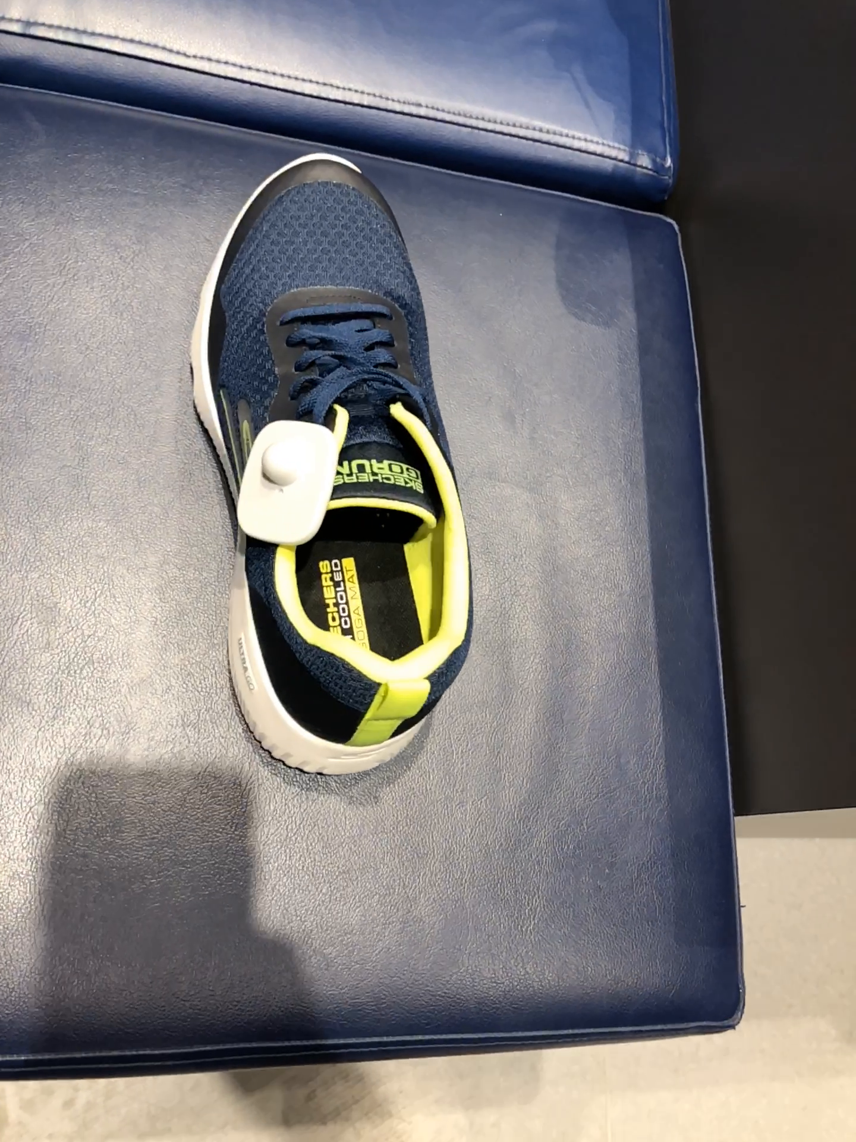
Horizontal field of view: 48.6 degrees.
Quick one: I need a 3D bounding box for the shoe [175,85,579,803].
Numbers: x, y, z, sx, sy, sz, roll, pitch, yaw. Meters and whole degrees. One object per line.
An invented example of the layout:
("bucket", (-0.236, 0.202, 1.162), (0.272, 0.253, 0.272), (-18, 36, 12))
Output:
("shoe", (-0.038, -0.044, 0.398), (0.114, 0.132, 0.255), (-4, 75, -17))
